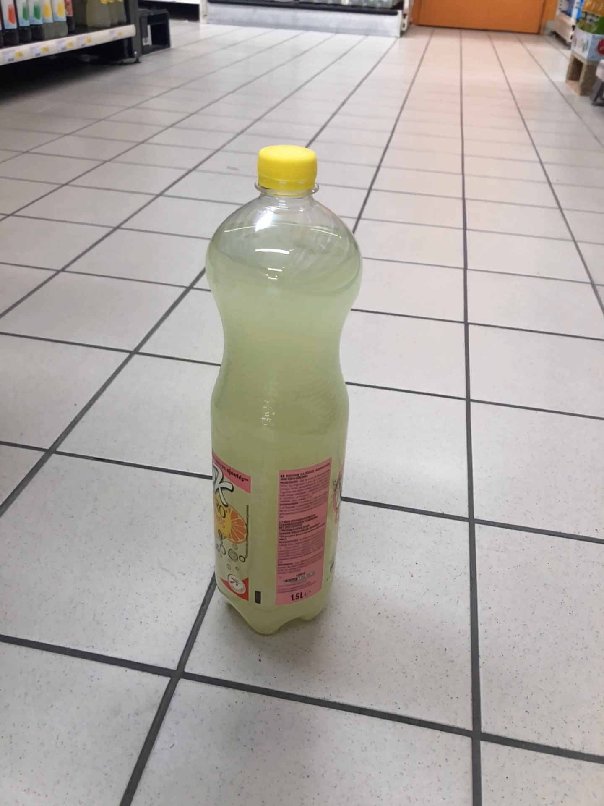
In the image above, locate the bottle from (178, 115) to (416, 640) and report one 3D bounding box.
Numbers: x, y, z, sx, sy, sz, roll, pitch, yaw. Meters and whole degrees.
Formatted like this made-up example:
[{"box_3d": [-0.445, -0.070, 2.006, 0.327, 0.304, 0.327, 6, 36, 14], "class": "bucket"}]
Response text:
[{"box_3d": [-0.017, -0.004, 0.406, 0.100, 0.298, 0.111, -3, 33, -10], "class": "bottle"}]
